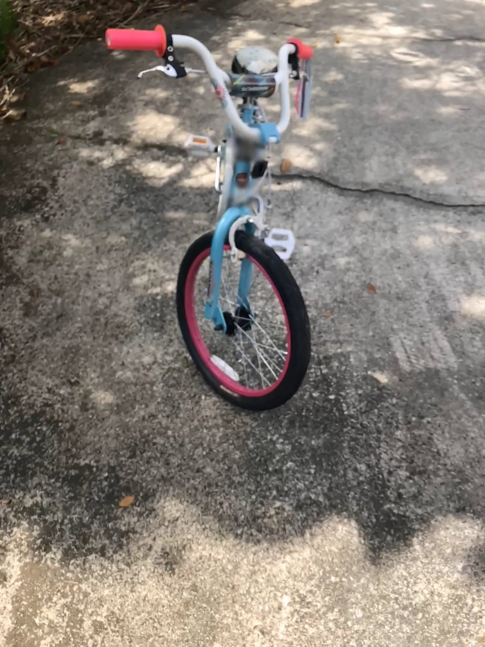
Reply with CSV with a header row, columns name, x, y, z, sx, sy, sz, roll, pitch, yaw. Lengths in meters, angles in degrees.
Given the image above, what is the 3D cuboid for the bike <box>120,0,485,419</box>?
name,x,y,z,sx,sy,sz,roll,pitch,yaw
bike,0.117,-0.523,1.563,0.699,0.923,1.316,-5,47,-2
